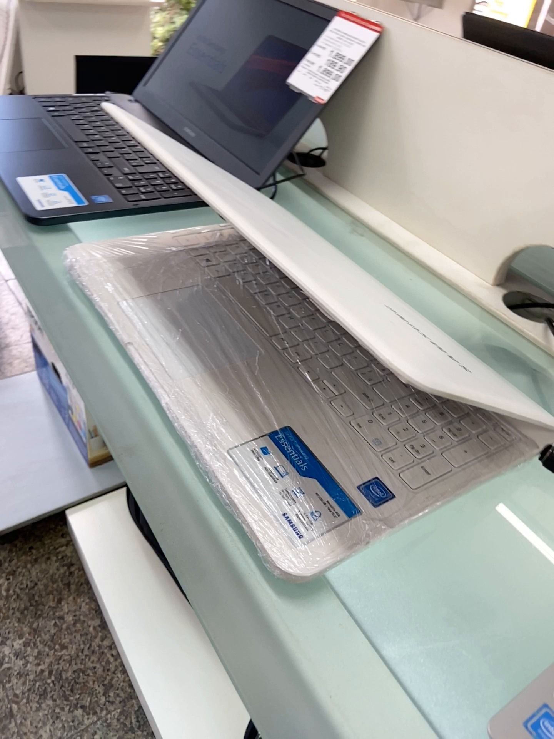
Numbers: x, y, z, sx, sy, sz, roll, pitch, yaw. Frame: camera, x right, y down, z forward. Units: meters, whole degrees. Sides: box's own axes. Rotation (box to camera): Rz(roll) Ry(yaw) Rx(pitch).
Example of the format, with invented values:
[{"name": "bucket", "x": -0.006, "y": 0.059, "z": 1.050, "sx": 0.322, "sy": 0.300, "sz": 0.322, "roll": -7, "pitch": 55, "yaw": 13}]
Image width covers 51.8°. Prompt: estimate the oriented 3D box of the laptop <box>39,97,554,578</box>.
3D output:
[{"name": "laptop", "x": 0.013, "y": -0.080, "z": 0.435, "sx": 0.248, "sy": 0.129, "sz": 0.373, "roll": -17, "pitch": 47, "yaw": -31}]
